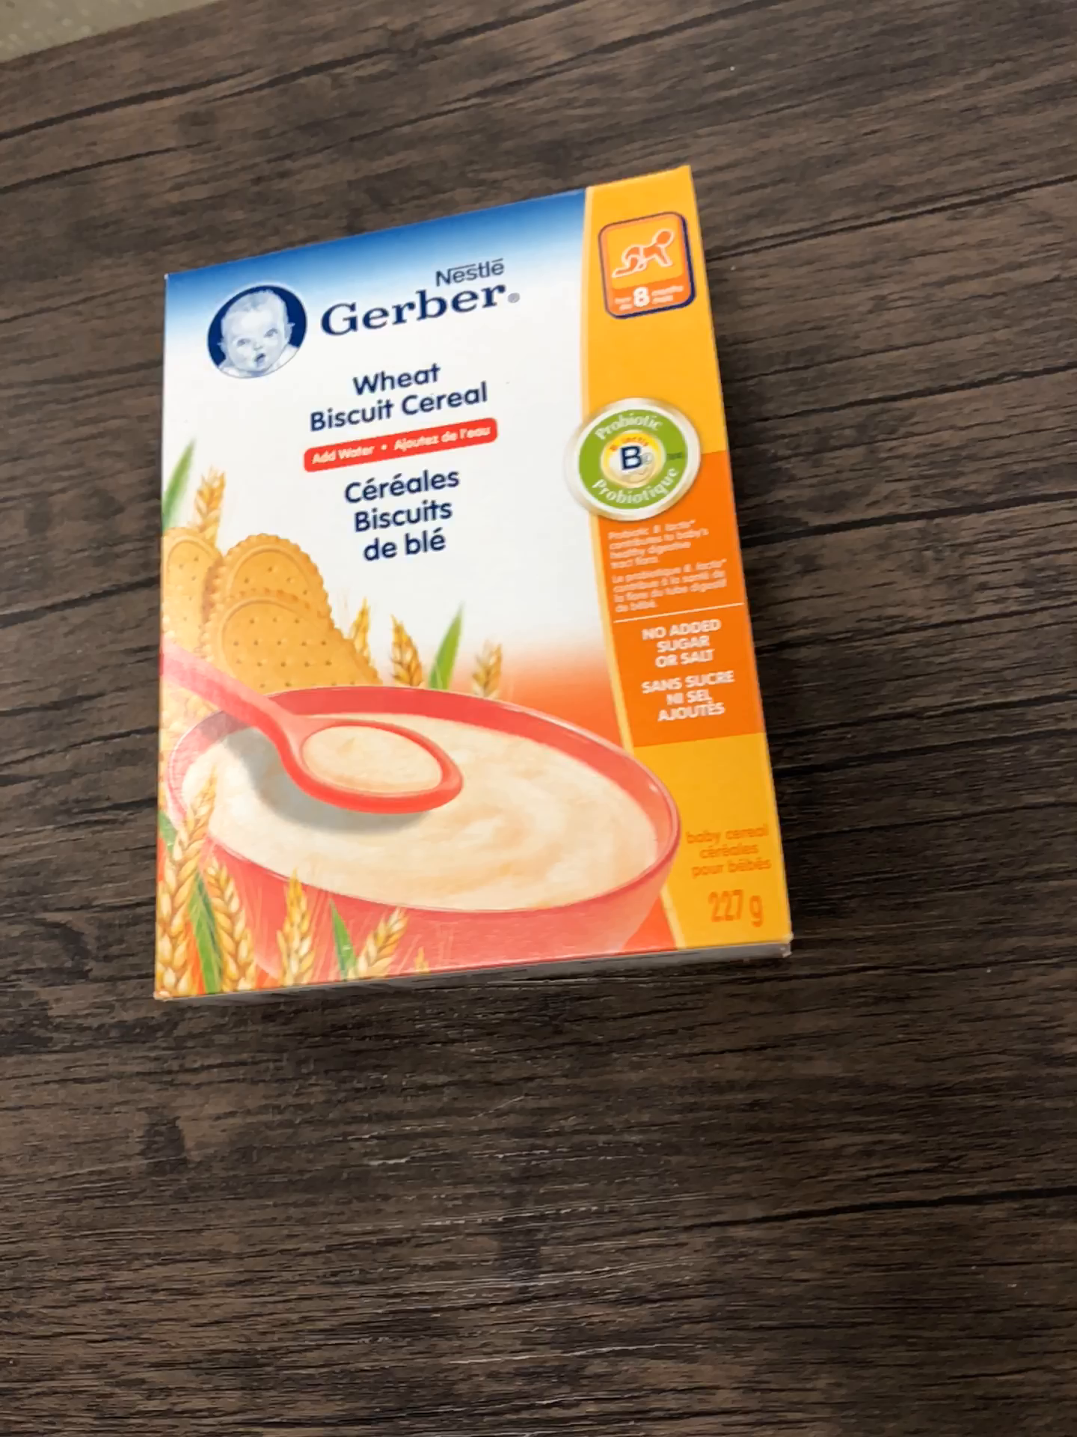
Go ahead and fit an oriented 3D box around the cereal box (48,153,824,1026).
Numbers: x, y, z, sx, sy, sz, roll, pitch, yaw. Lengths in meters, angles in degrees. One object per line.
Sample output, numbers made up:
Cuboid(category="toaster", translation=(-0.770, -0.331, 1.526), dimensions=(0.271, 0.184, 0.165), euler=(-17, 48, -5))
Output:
Cuboid(category="cereal box", translation=(-0.027, -0.027, 0.282), dimensions=(0.160, 0.040, 0.180), euler=(-7, 74, 10))
